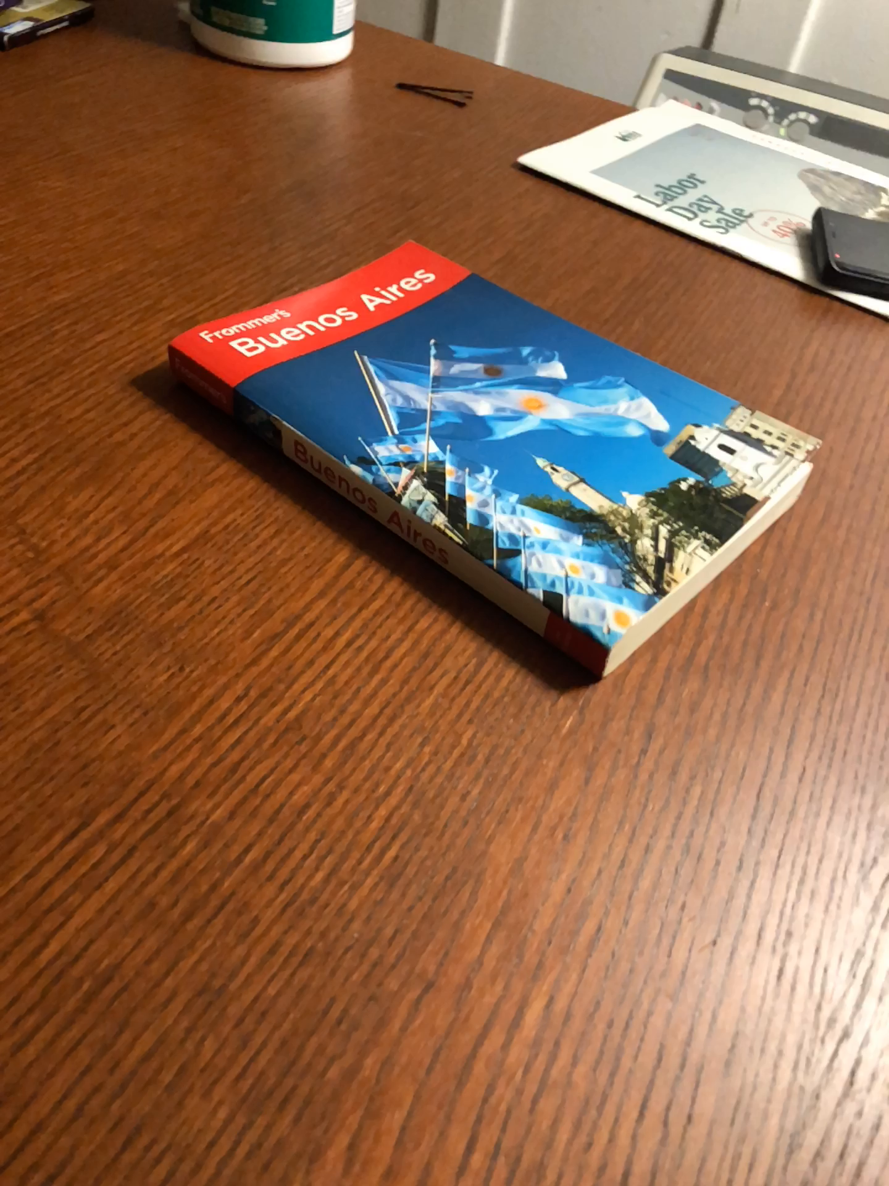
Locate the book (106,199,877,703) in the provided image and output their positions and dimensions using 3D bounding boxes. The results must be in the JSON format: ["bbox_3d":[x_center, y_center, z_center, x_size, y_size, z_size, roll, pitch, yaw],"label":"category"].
[{"bbox_3d":[0.018,-0.072,0.349,0.220,0.020,0.161,34,48,23],"label":"book"}]
